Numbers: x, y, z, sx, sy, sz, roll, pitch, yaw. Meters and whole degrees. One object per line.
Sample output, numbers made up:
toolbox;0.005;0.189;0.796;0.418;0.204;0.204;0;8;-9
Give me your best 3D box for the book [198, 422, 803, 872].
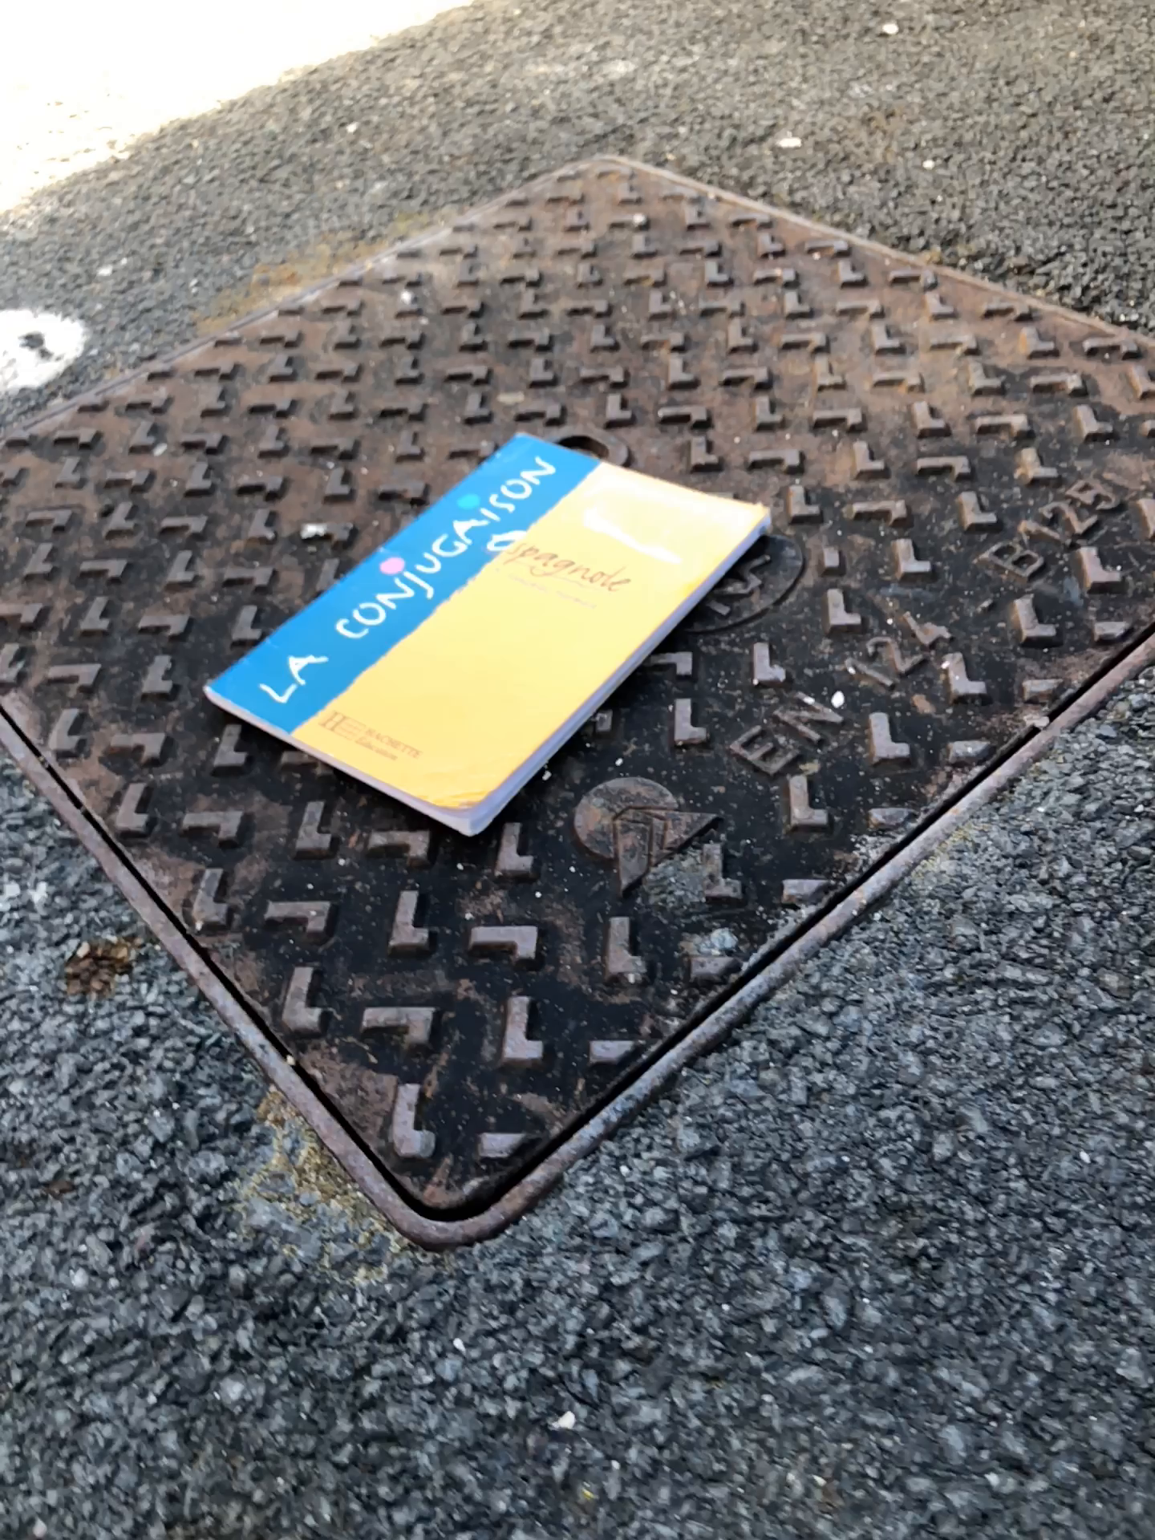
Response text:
book;-0.024;-0.059;0.480;0.140;0.017;0.188;25;55;28
